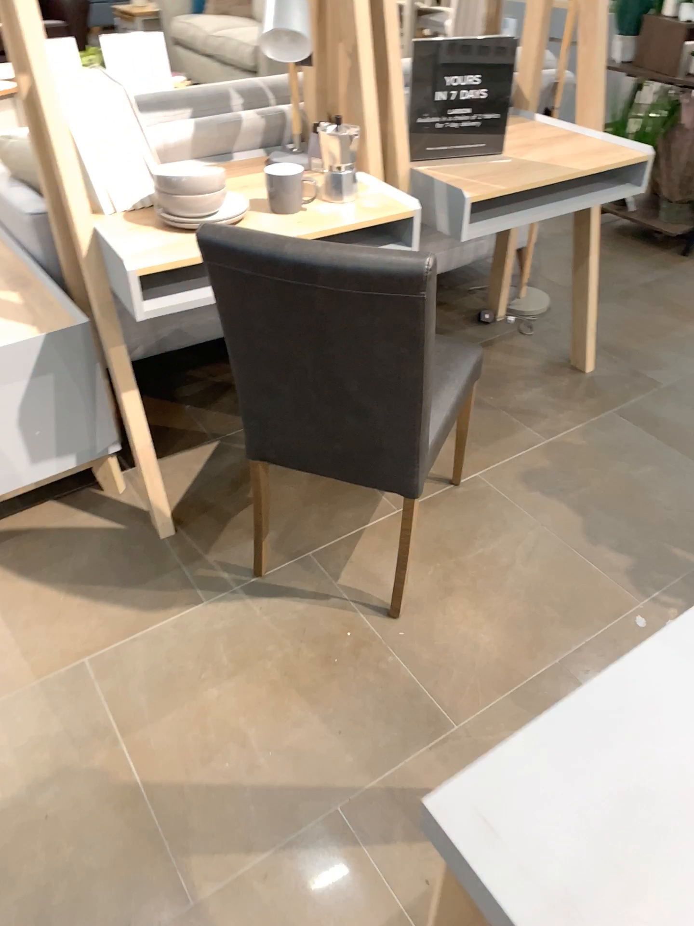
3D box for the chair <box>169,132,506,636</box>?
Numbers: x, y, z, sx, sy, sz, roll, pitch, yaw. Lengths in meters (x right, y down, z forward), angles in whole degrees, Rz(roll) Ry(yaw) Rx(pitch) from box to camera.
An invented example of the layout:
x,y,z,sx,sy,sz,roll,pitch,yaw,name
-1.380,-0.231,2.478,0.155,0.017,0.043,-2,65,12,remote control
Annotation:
x,y,z,sx,sy,sz,roll,pitch,yaw,name
0.019,-0.185,1.613,0.457,0.887,0.609,13,40,15,chair
